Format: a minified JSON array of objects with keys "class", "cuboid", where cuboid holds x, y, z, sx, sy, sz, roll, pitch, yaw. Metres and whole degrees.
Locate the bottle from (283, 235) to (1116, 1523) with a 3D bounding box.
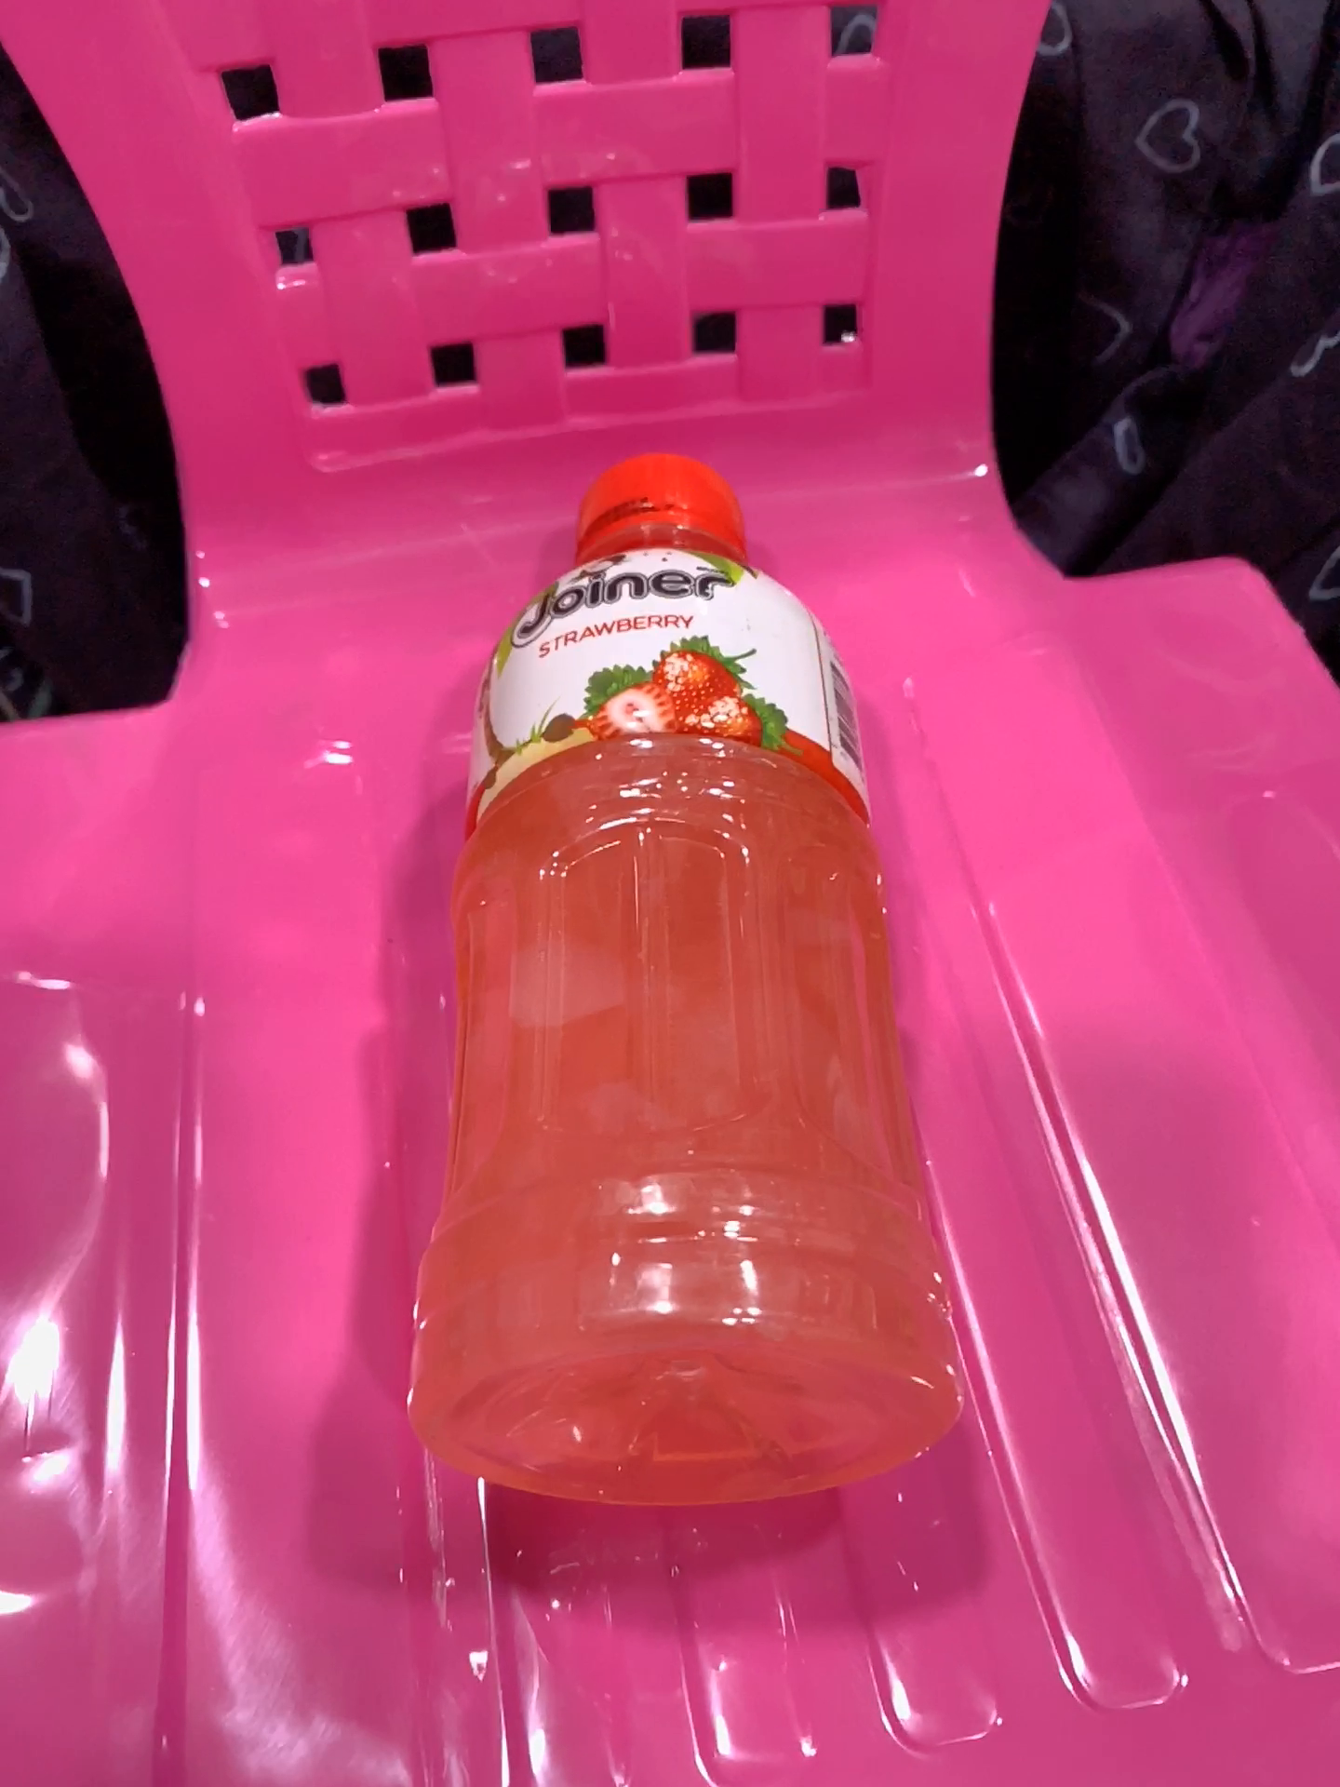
[{"class":"bottle","cuboid":[0.000,-0.008,0.190,0.070,0.070,0.160,-2,58,-1]}]
